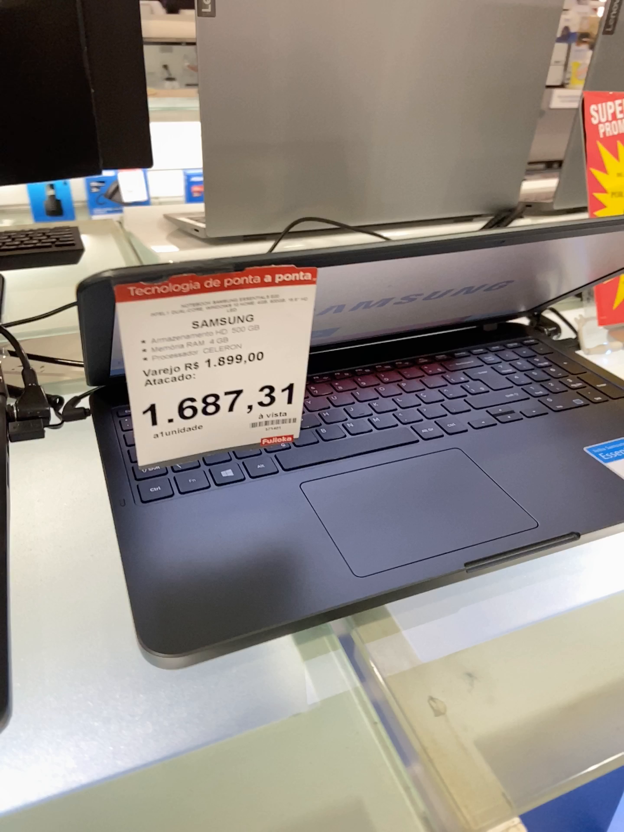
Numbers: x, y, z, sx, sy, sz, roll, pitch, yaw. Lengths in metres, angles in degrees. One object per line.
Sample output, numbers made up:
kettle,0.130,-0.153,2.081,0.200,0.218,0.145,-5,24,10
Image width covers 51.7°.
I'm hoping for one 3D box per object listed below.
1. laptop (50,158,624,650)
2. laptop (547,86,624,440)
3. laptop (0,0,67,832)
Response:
laptop,0.059,-0.054,0.383,0.367,0.139,0.236,-11,32,-20
laptop,0.431,-0.166,0.543,0.316,0.177,0.297,-11,33,-20
laptop,-0.371,-0.047,0.255,0.394,0.223,0.372,-11,32,-23
